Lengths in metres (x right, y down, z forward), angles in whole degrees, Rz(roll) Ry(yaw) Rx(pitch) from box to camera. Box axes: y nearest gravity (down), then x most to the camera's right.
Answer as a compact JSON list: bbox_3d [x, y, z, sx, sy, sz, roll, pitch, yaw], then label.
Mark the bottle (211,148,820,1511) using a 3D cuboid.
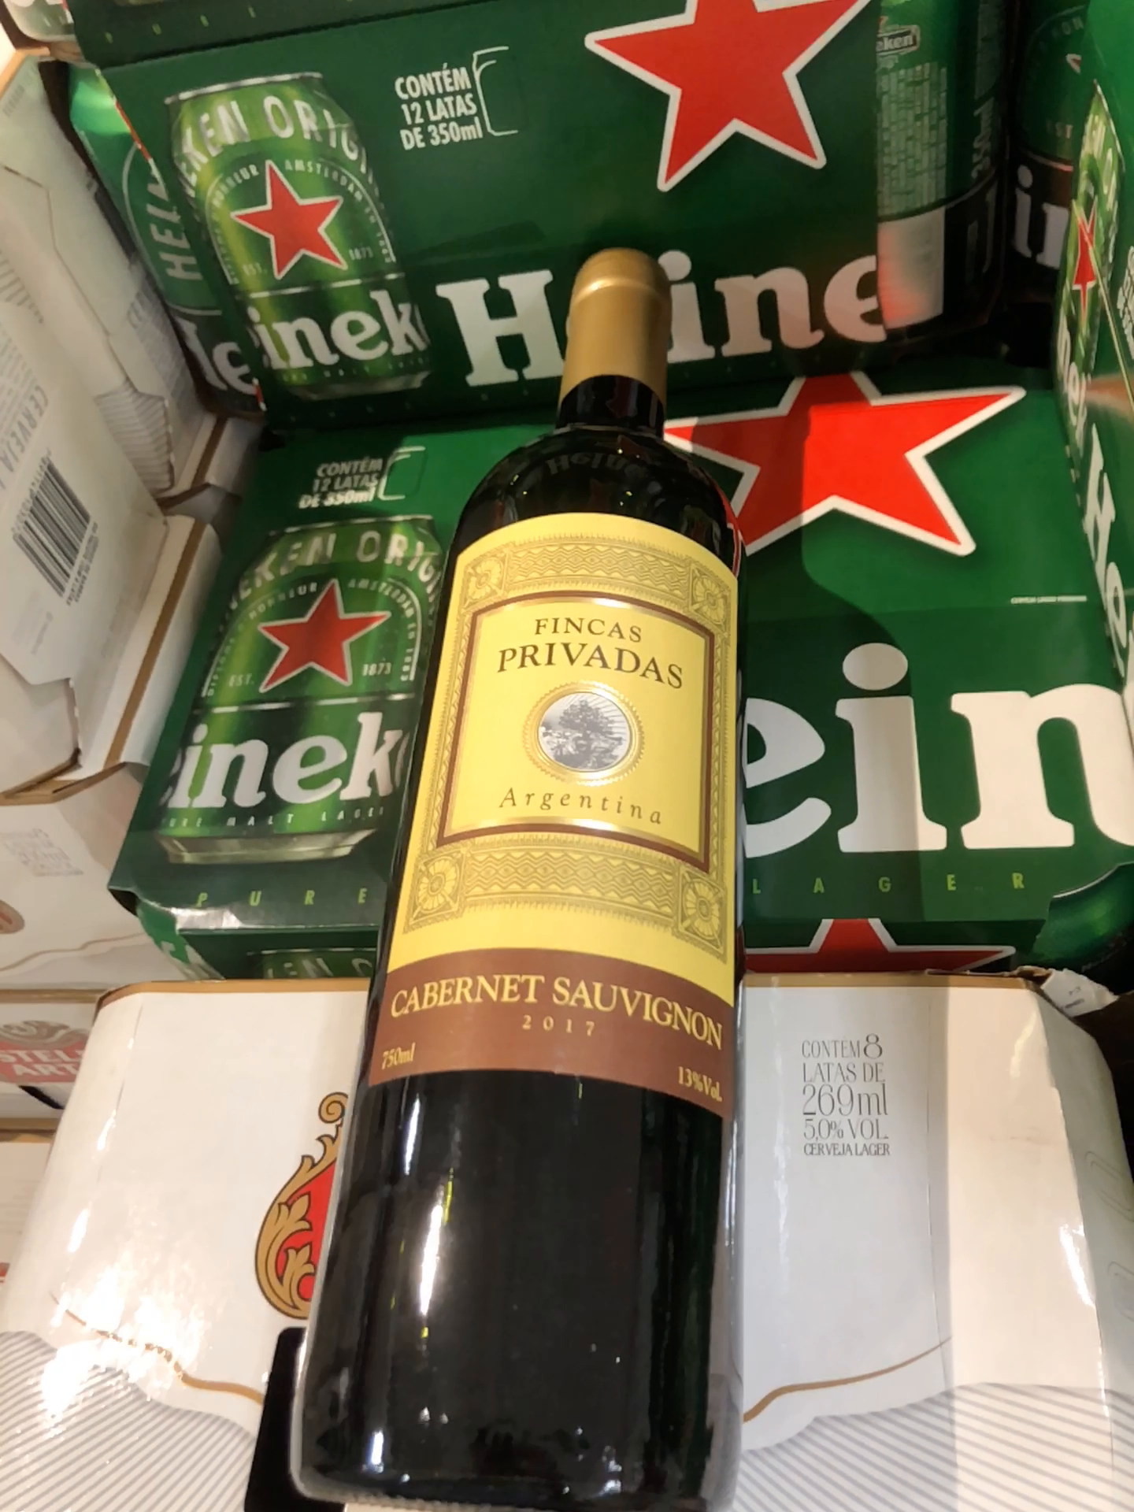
[{"bbox_3d":[0.014,-0.016,0.286,0.080,0.060,0.332,-2,53,13],"label":"bottle"}]
